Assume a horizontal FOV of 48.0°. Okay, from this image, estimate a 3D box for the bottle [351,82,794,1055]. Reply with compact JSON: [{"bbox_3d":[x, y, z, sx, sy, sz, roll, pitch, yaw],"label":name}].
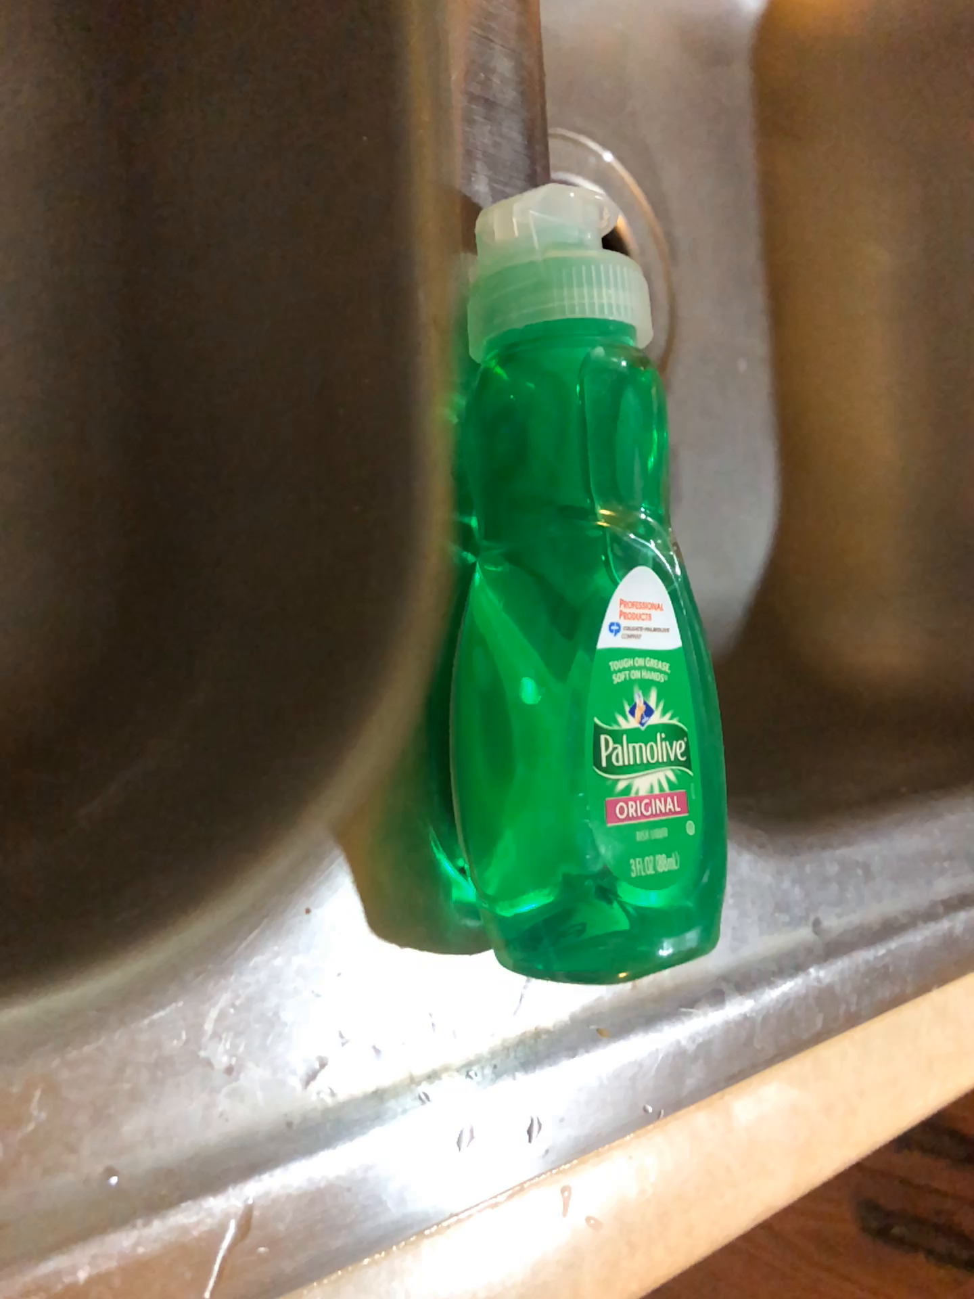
[{"bbox_3d":[0.014,-0.011,0.173,0.050,0.030,0.130,-3,86,-41],"label":"bottle"}]
